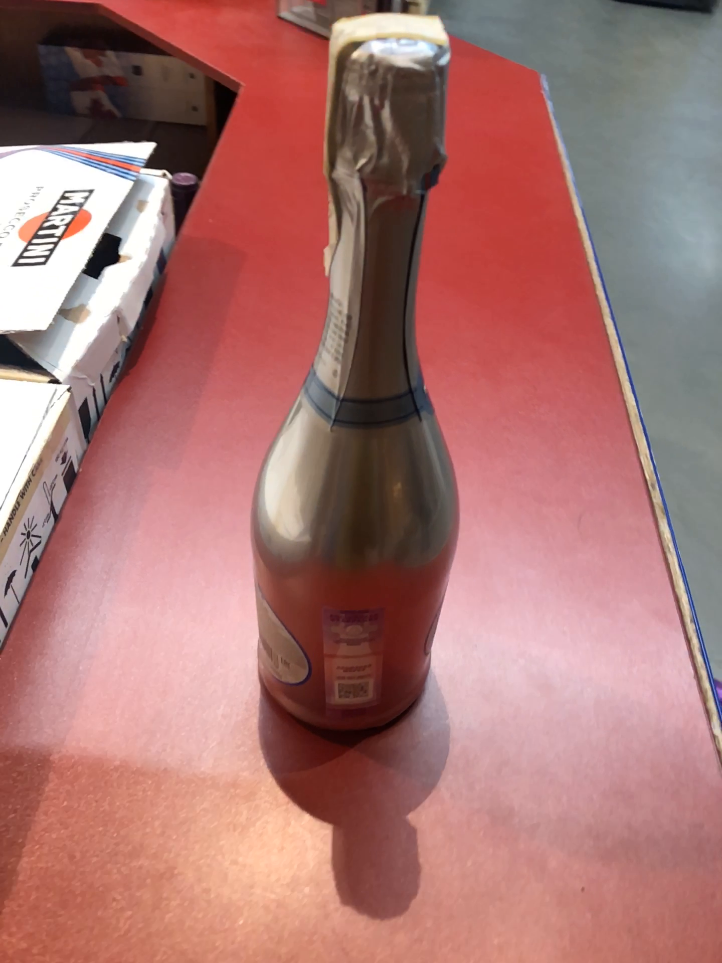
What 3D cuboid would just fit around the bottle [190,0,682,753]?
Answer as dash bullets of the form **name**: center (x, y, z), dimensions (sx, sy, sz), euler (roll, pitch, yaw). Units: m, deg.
- **bottle**: center (0.002, -0.019, 0.315), dimensions (0.100, 0.298, 0.101), euler (3, 46, -3)
